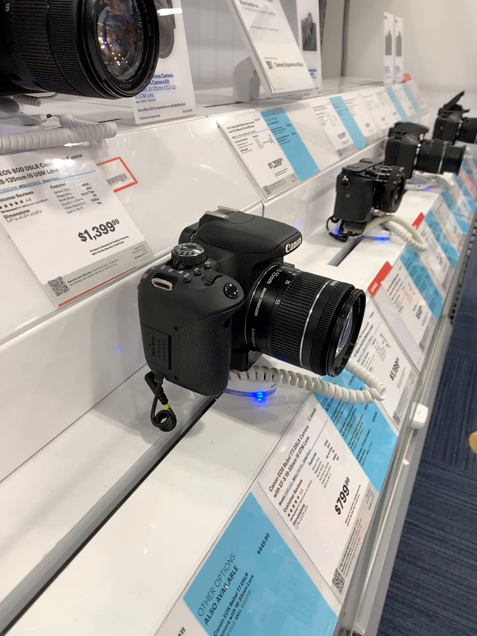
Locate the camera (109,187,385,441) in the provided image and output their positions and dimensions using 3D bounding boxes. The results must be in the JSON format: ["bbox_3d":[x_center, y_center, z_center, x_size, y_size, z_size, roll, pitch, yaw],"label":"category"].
[{"bbox_3d":[0.012,-0.018,0.341,0.130,0.099,0.141,15,31,23],"label":"camera"}]
